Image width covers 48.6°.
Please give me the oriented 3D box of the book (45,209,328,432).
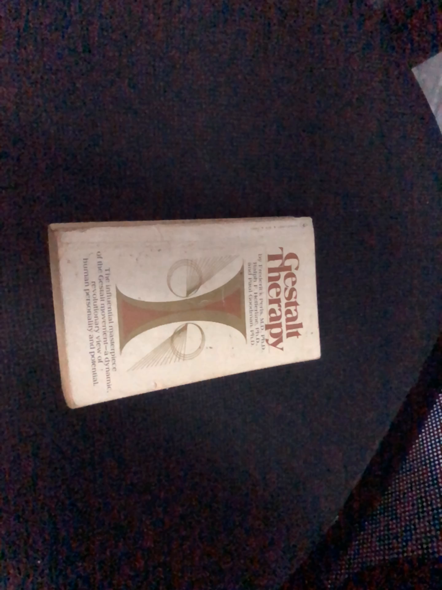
[{"bbox_3d":[-0.014,0.007,0.328,0.183,0.034,0.120,-7,98,-27],"label":"book"}]
